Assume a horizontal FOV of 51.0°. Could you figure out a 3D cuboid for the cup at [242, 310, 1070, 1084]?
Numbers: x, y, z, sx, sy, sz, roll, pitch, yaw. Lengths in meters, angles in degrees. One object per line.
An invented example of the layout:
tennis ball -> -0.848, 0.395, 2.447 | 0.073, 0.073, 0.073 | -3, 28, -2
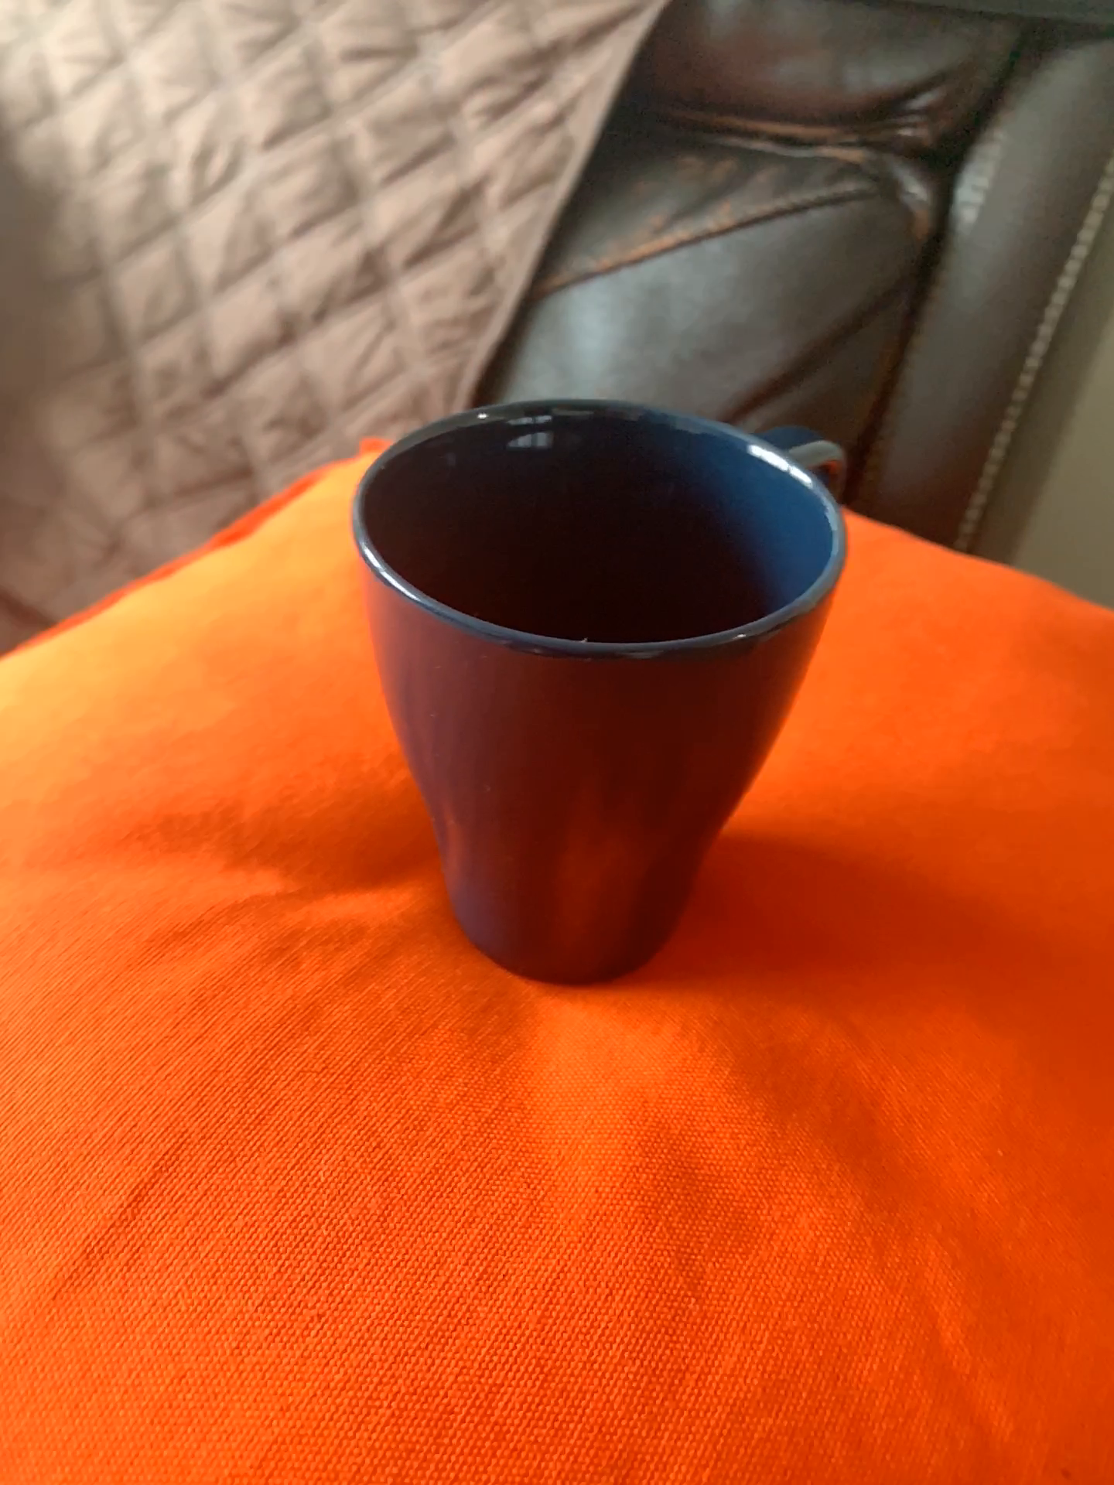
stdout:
cup -> 0.018, -0.018, 0.224 | 0.121, 0.079, 0.080 | -29, 52, -33
